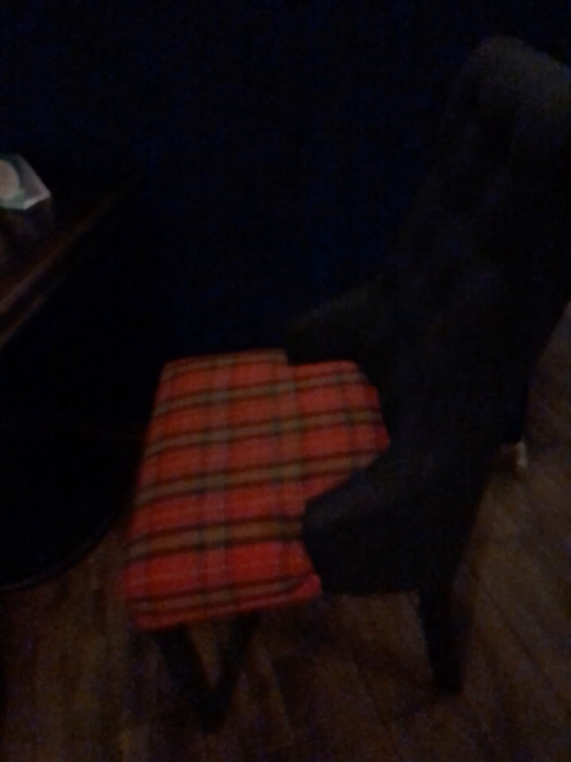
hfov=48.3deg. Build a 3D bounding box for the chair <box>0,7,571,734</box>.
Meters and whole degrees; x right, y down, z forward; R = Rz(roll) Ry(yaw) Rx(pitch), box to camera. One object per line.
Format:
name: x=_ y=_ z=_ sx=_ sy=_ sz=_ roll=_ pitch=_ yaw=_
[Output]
chair: x=0.056 y=0.040 z=1.041 sx=0.610 sy=1.003 sz=0.524 roll=-7 pitch=37 yaw=2
